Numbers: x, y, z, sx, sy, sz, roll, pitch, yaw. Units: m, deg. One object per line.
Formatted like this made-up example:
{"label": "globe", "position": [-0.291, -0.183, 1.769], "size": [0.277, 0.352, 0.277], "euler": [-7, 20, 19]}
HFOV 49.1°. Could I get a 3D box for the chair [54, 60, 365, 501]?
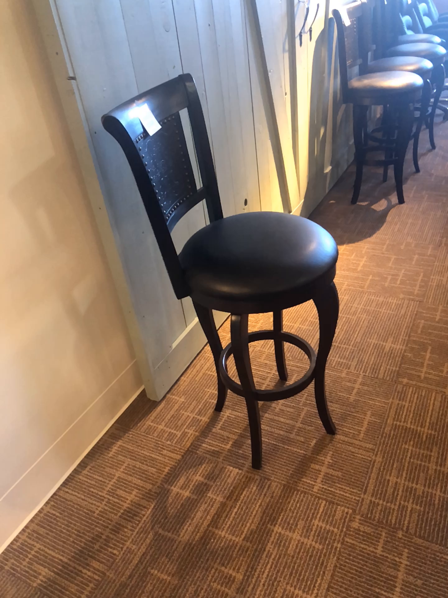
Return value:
{"label": "chair", "position": [0.064, -0.044, 1.532], "size": [0.610, 1.150, 0.563], "euler": [7, 36, 22]}
